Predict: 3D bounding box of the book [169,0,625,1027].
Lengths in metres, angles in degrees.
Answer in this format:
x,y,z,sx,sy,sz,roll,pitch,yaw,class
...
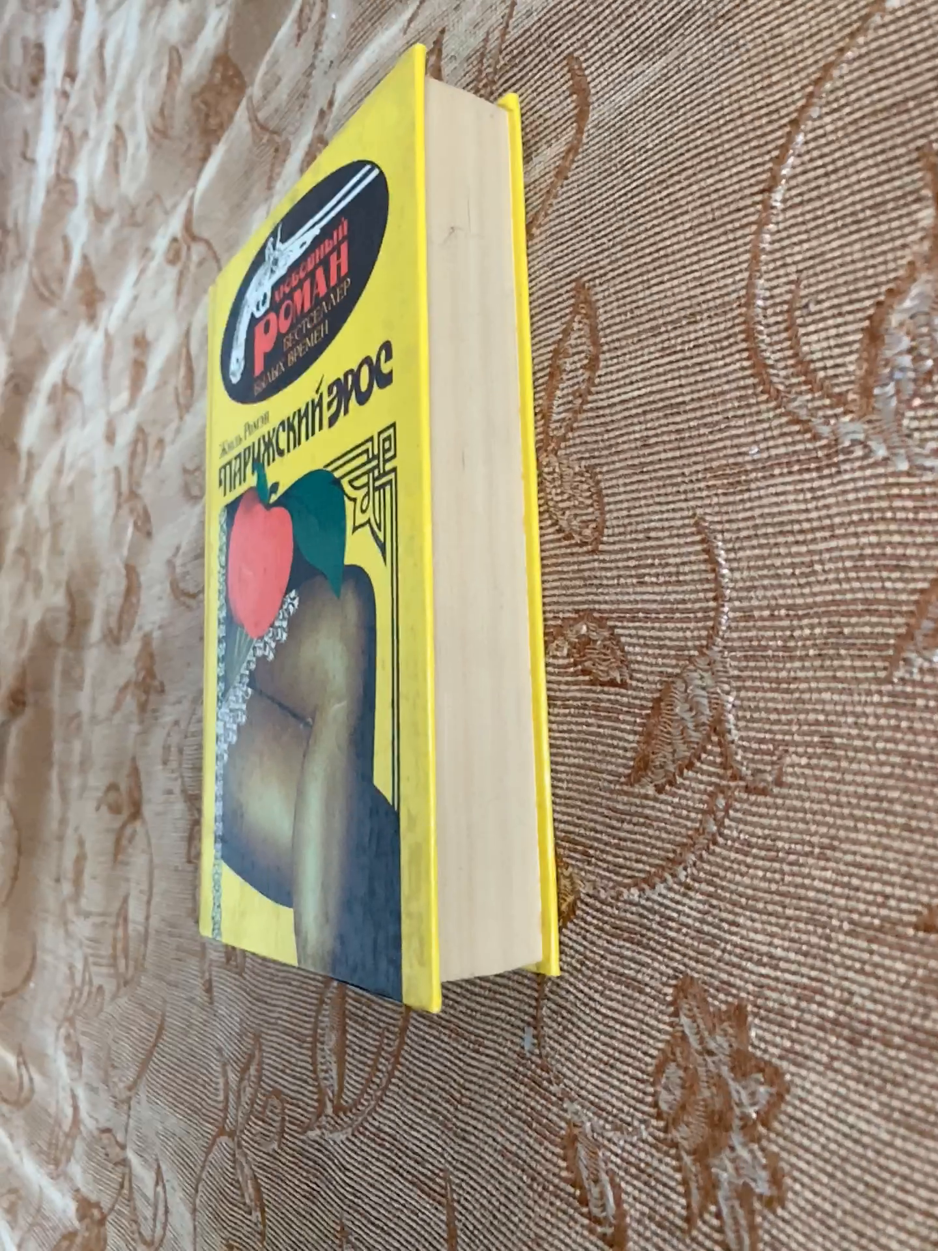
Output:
x,y,z,sx,sy,sz,roll,pitch,yaw,class
-0.029,-0.023,0.234,0.131,0.040,0.196,-14,75,54,book
